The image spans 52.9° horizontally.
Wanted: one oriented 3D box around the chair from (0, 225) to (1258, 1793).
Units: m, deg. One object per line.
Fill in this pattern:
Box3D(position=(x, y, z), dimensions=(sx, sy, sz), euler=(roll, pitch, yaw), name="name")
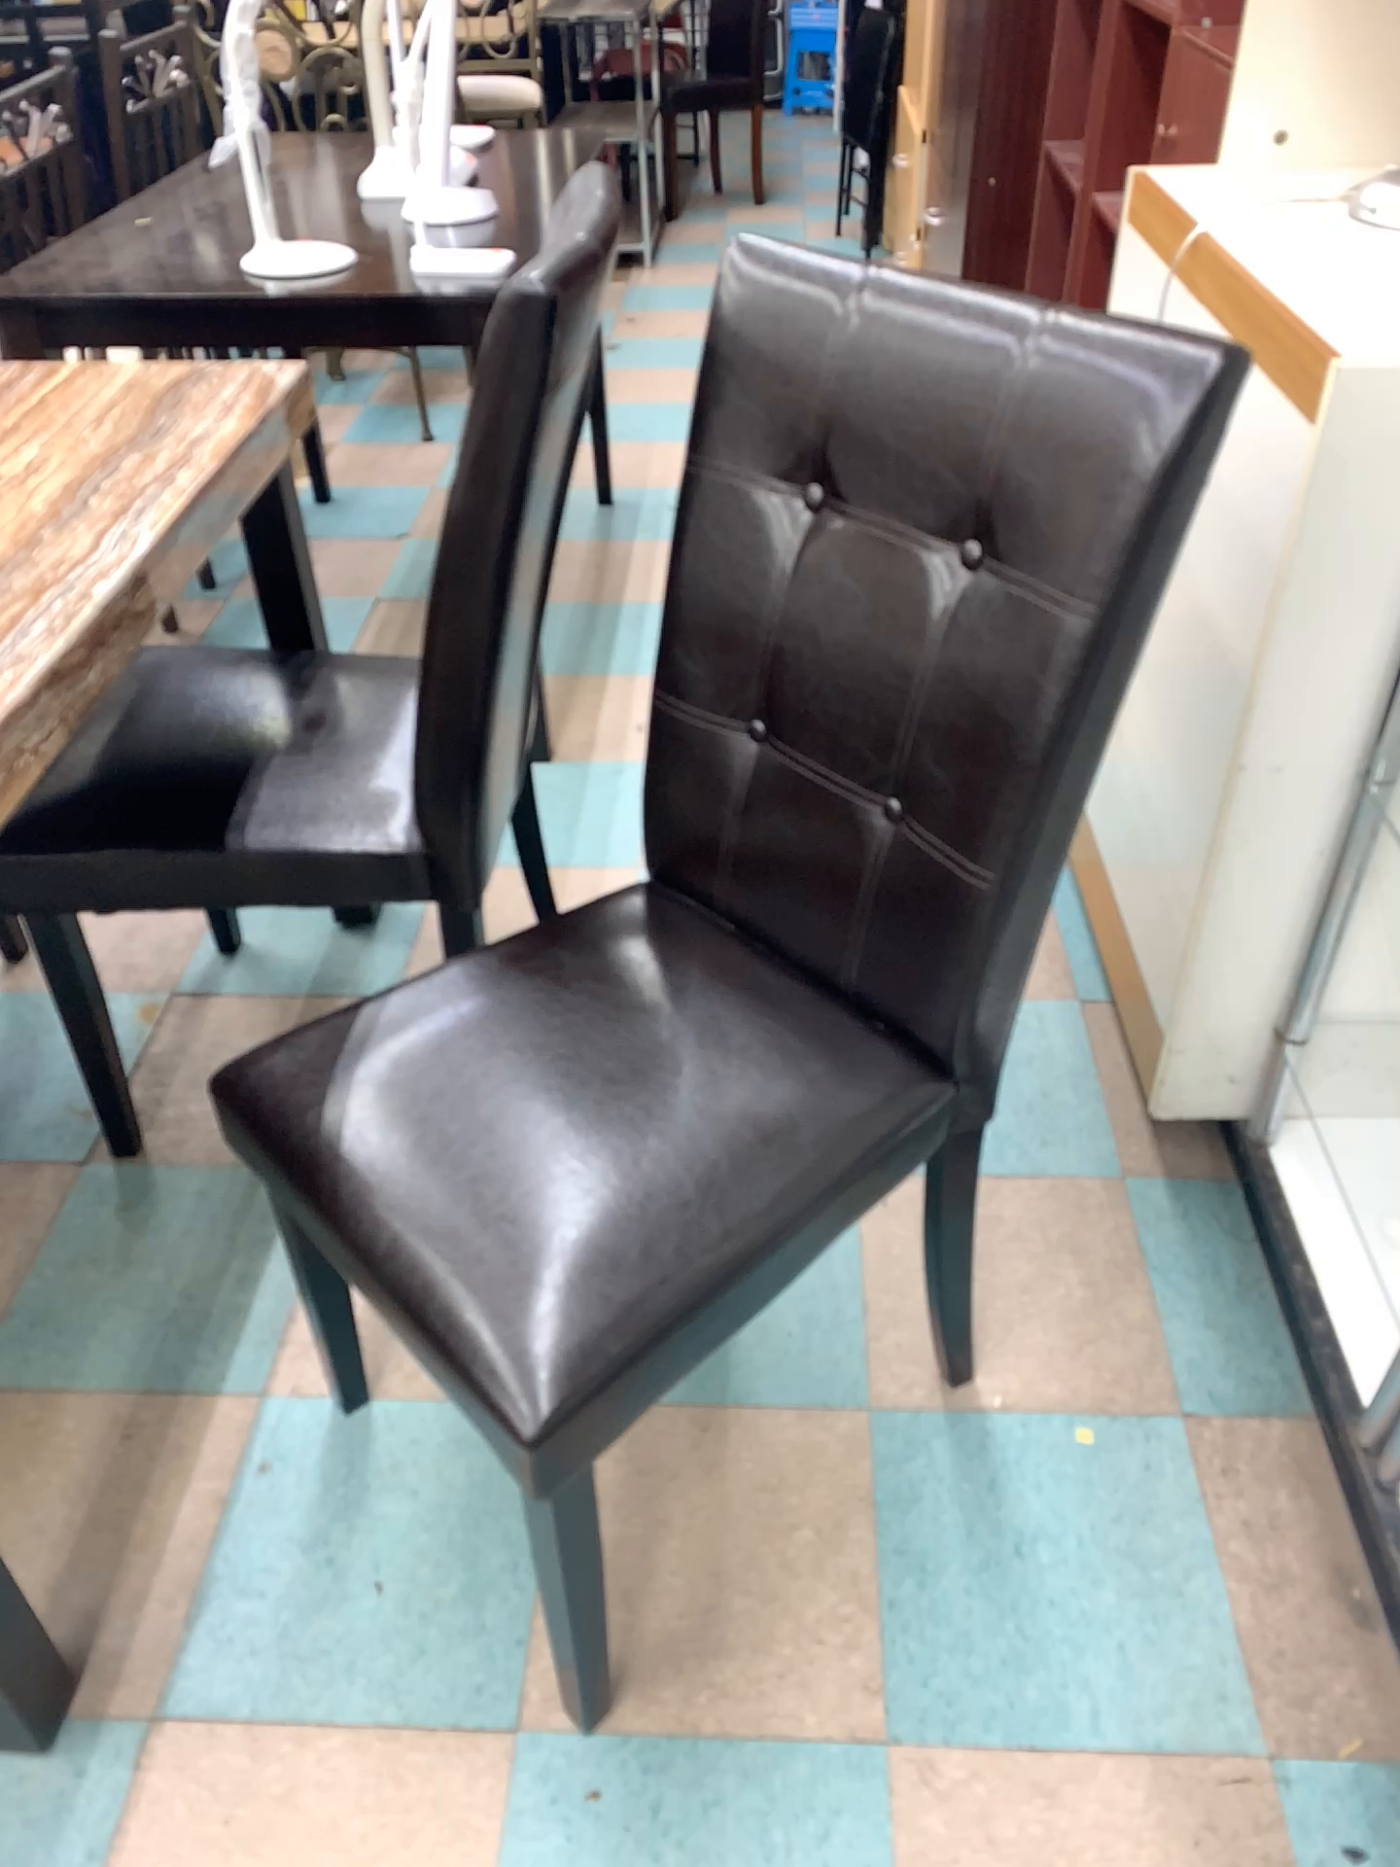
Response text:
Box3D(position=(-0.036, 0.052, 1.075), dimensions=(0.574, 0.939, 0.471), euler=(-29, 44, -30), name="chair")
